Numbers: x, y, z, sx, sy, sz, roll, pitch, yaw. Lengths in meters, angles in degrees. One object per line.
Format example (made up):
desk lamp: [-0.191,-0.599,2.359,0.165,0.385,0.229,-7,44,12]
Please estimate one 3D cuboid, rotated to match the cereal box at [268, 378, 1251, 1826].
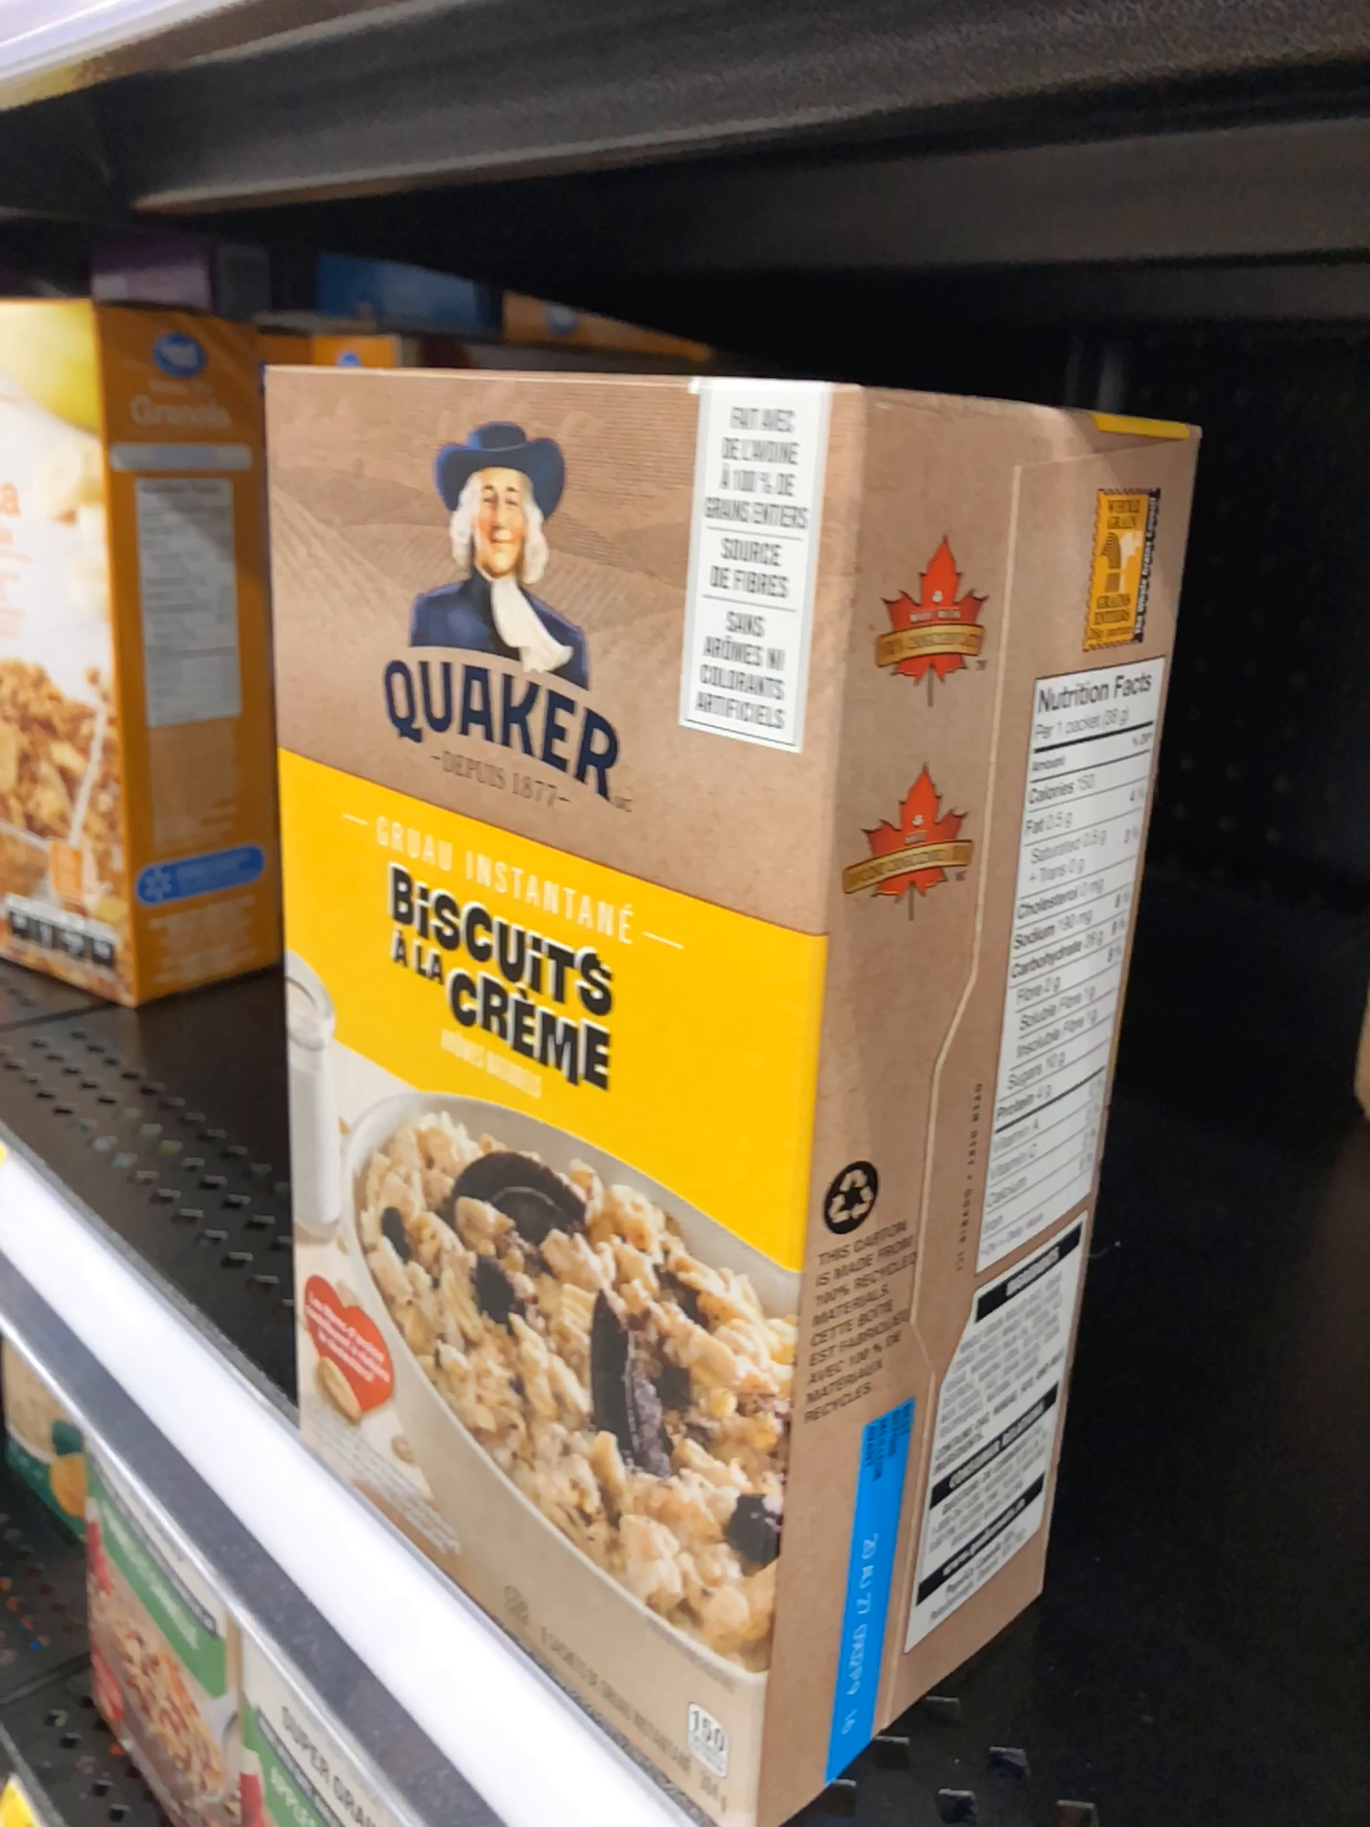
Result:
cereal box: [0.001,0.017,0.248,0.080,0.189,0.120,-12,23,-41]
